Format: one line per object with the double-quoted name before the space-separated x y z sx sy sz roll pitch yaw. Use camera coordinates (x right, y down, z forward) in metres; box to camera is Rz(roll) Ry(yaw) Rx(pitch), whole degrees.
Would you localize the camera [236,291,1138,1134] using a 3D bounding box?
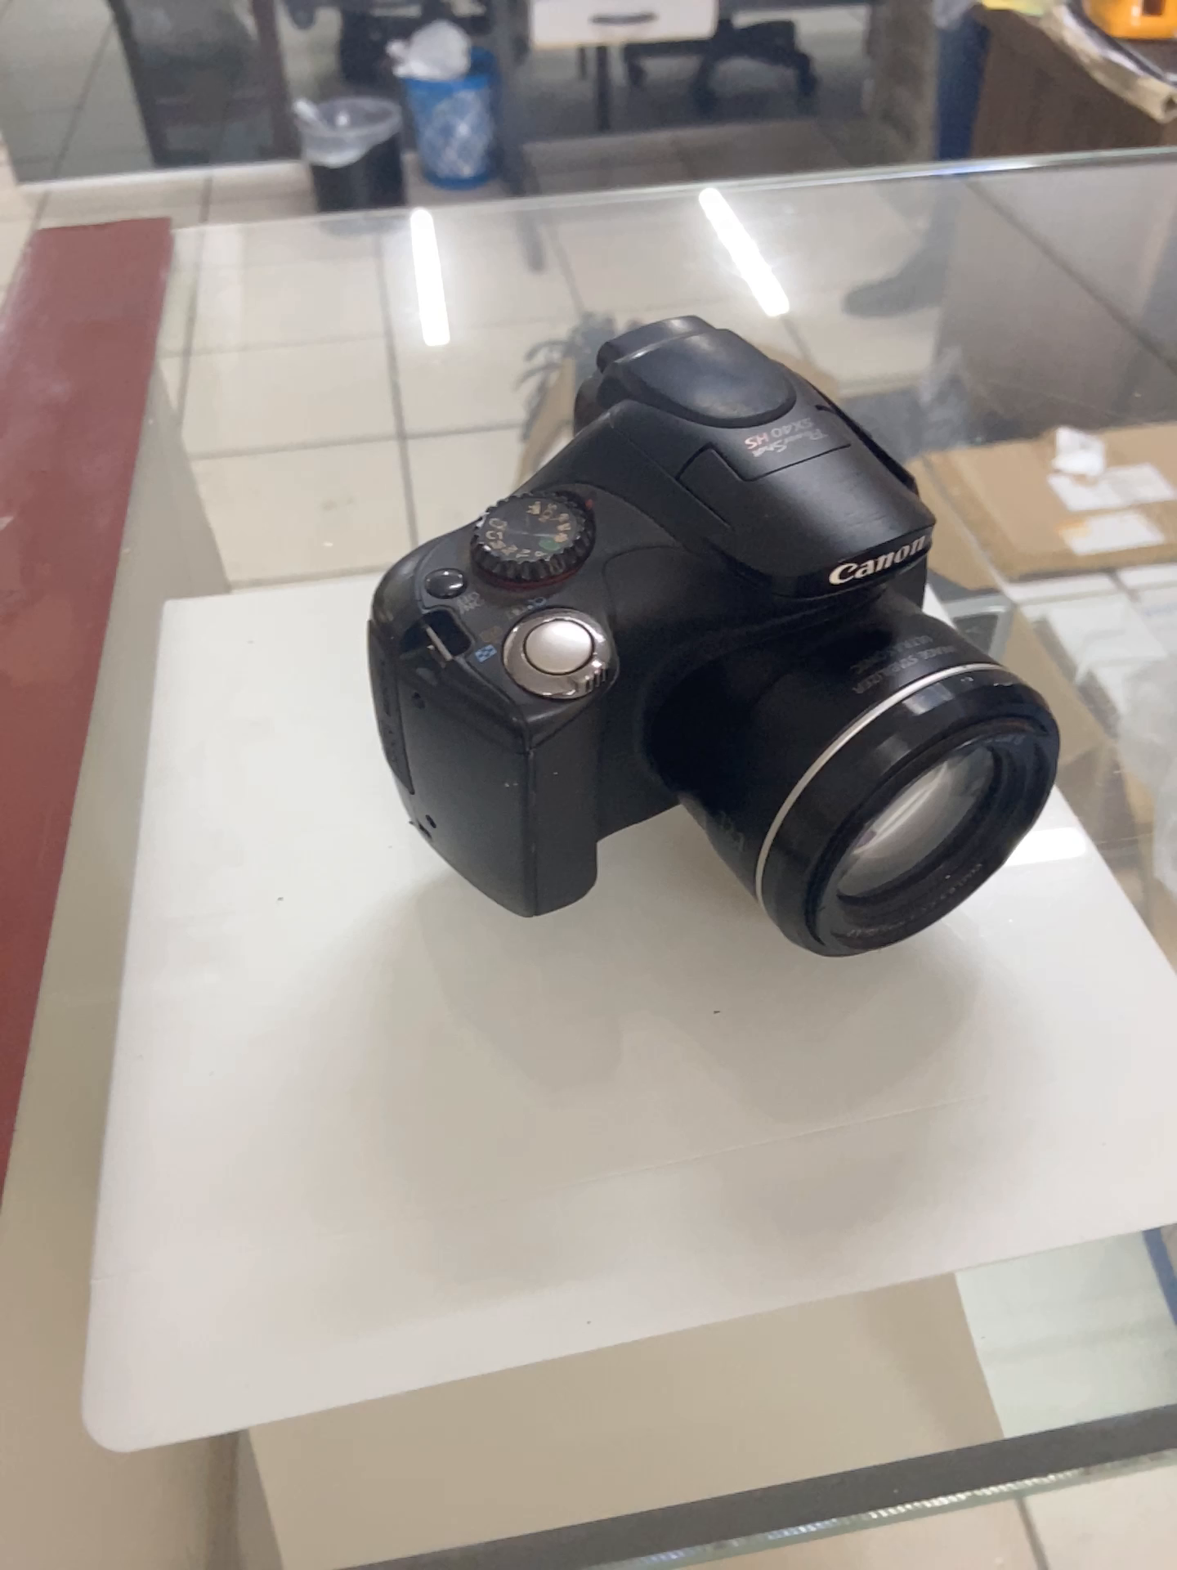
"camera" 0.014 -0.027 0.277 0.120 0.089 0.141 -27 50 -22
